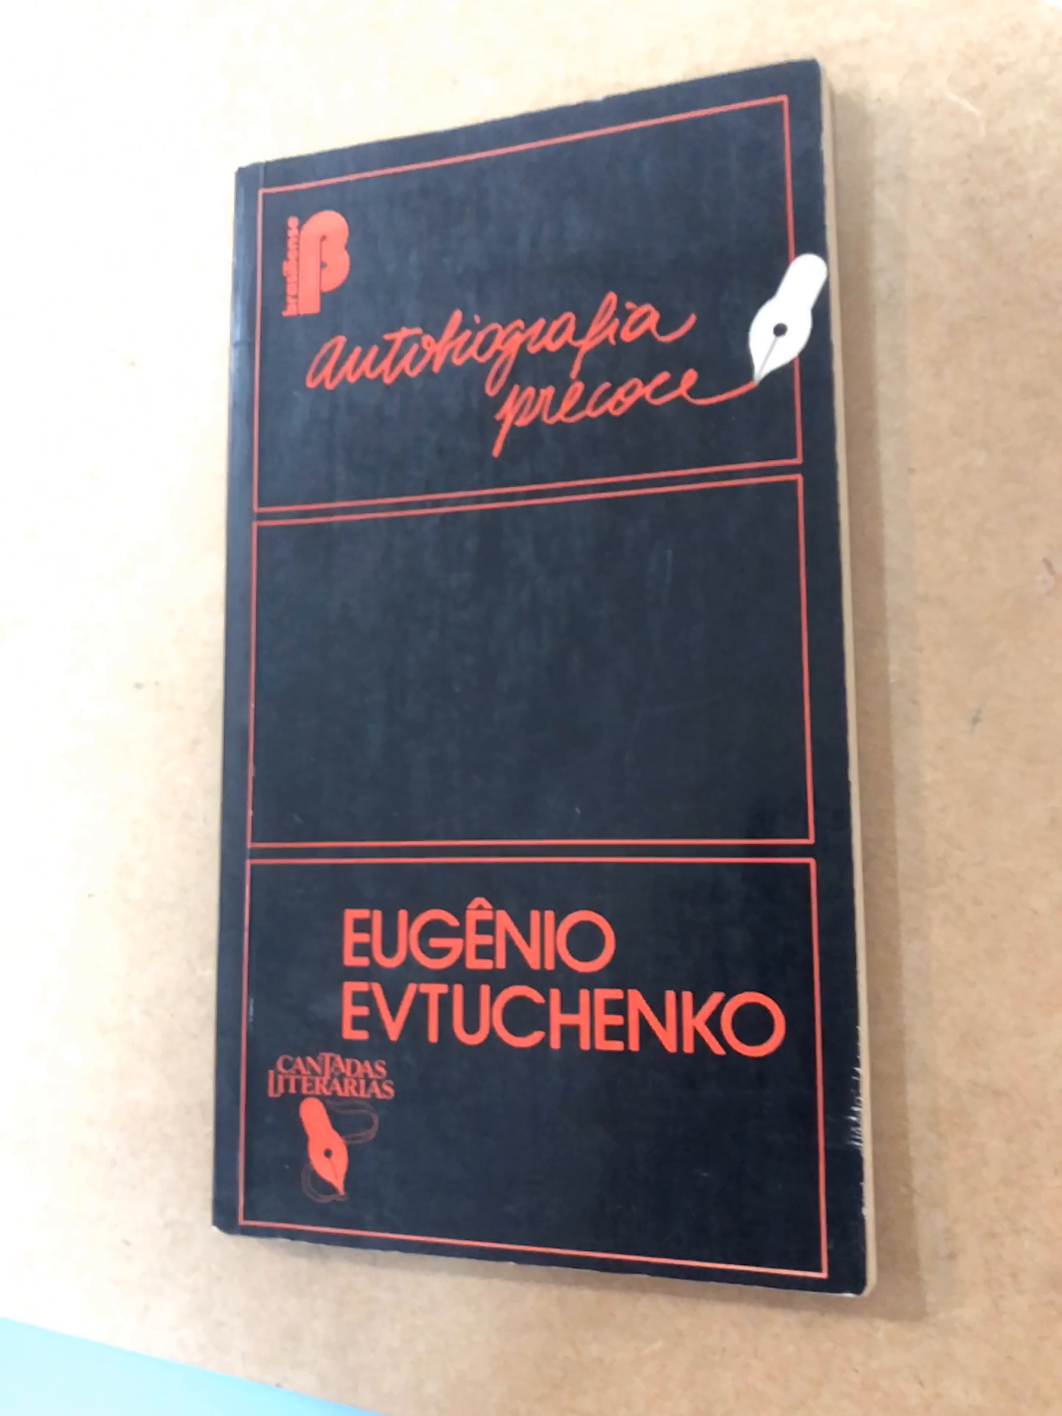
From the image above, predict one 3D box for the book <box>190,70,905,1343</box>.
[{"bbox_3d":[0.000,-0.003,0.201,0.114,0.016,0.190,-2,83,17],"label":"book"}]
